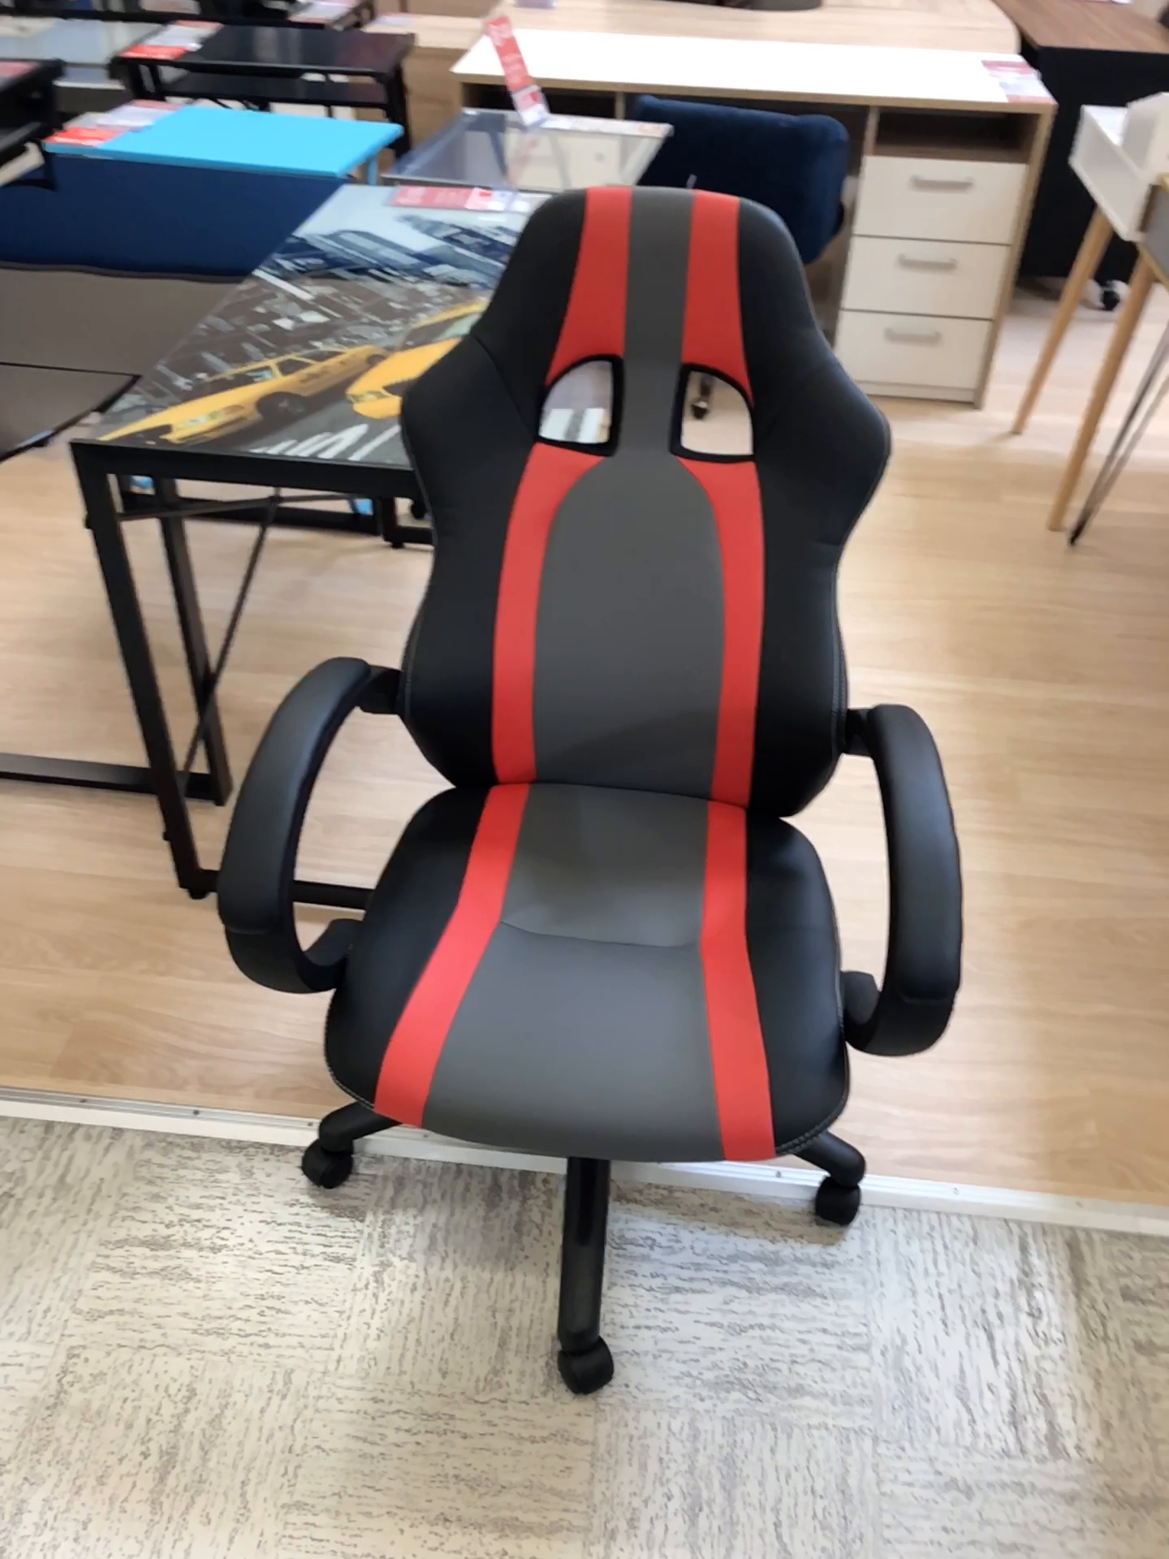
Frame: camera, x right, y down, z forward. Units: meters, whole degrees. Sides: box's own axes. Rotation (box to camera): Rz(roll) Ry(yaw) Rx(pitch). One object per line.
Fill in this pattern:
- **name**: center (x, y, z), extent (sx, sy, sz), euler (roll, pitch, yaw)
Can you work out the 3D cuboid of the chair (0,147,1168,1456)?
- **chair**: center (0.019, 0.011, 1.195), extent (0.690, 0.924, 0.695), euler (6, 38, 5)
